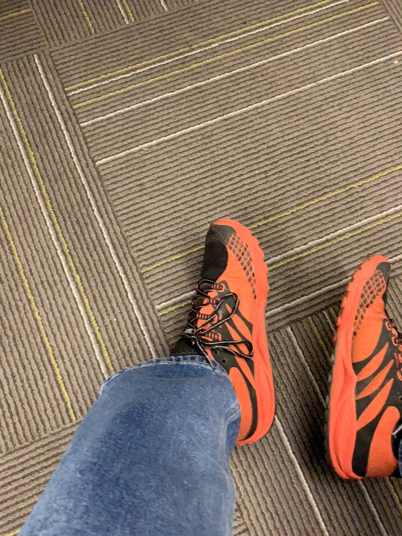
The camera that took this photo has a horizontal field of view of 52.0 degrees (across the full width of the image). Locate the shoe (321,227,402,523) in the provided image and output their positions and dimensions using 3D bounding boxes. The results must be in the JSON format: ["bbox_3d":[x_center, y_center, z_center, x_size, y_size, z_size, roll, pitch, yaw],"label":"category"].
[{"bbox_3d":[0.219,0.121,0.536,0.108,0.138,0.317,2,77,15],"label":"shoe"}]

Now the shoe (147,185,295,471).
[{"bbox_3d":[0.018,0.072,0.528,0.108,0.128,0.307,8,73,-44],"label":"shoe"}]
